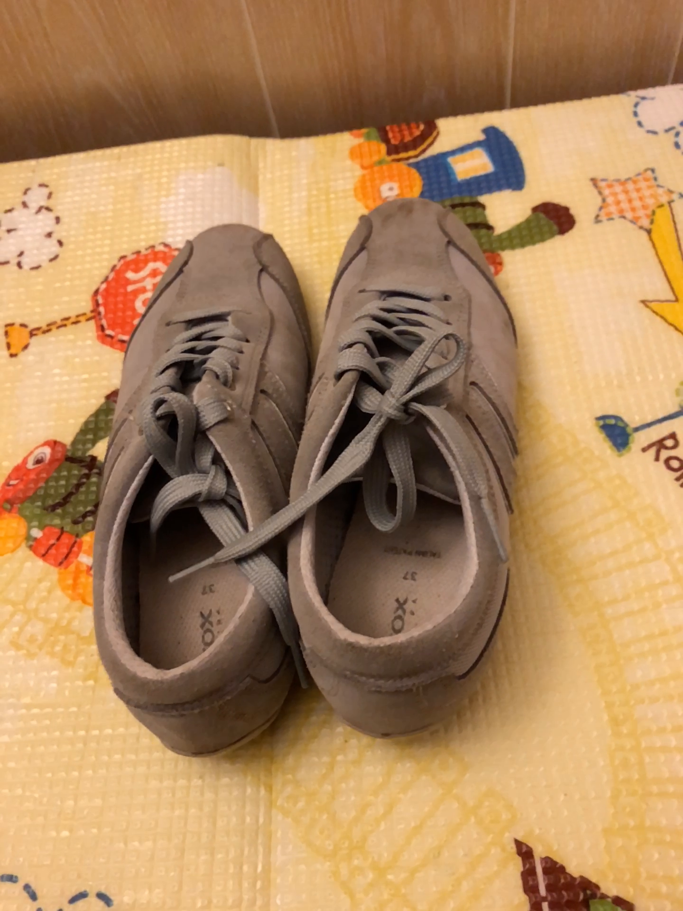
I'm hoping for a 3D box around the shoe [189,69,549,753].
[{"bbox_3d":[0.025,-0.019,0.295,0.090,0.120,0.231,1,61,10],"label":"shoe"}]

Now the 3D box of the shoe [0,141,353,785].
[{"bbox_3d":[-0.056,0.002,0.316,0.090,0.120,0.231,-7,60,5],"label":"shoe"}]
